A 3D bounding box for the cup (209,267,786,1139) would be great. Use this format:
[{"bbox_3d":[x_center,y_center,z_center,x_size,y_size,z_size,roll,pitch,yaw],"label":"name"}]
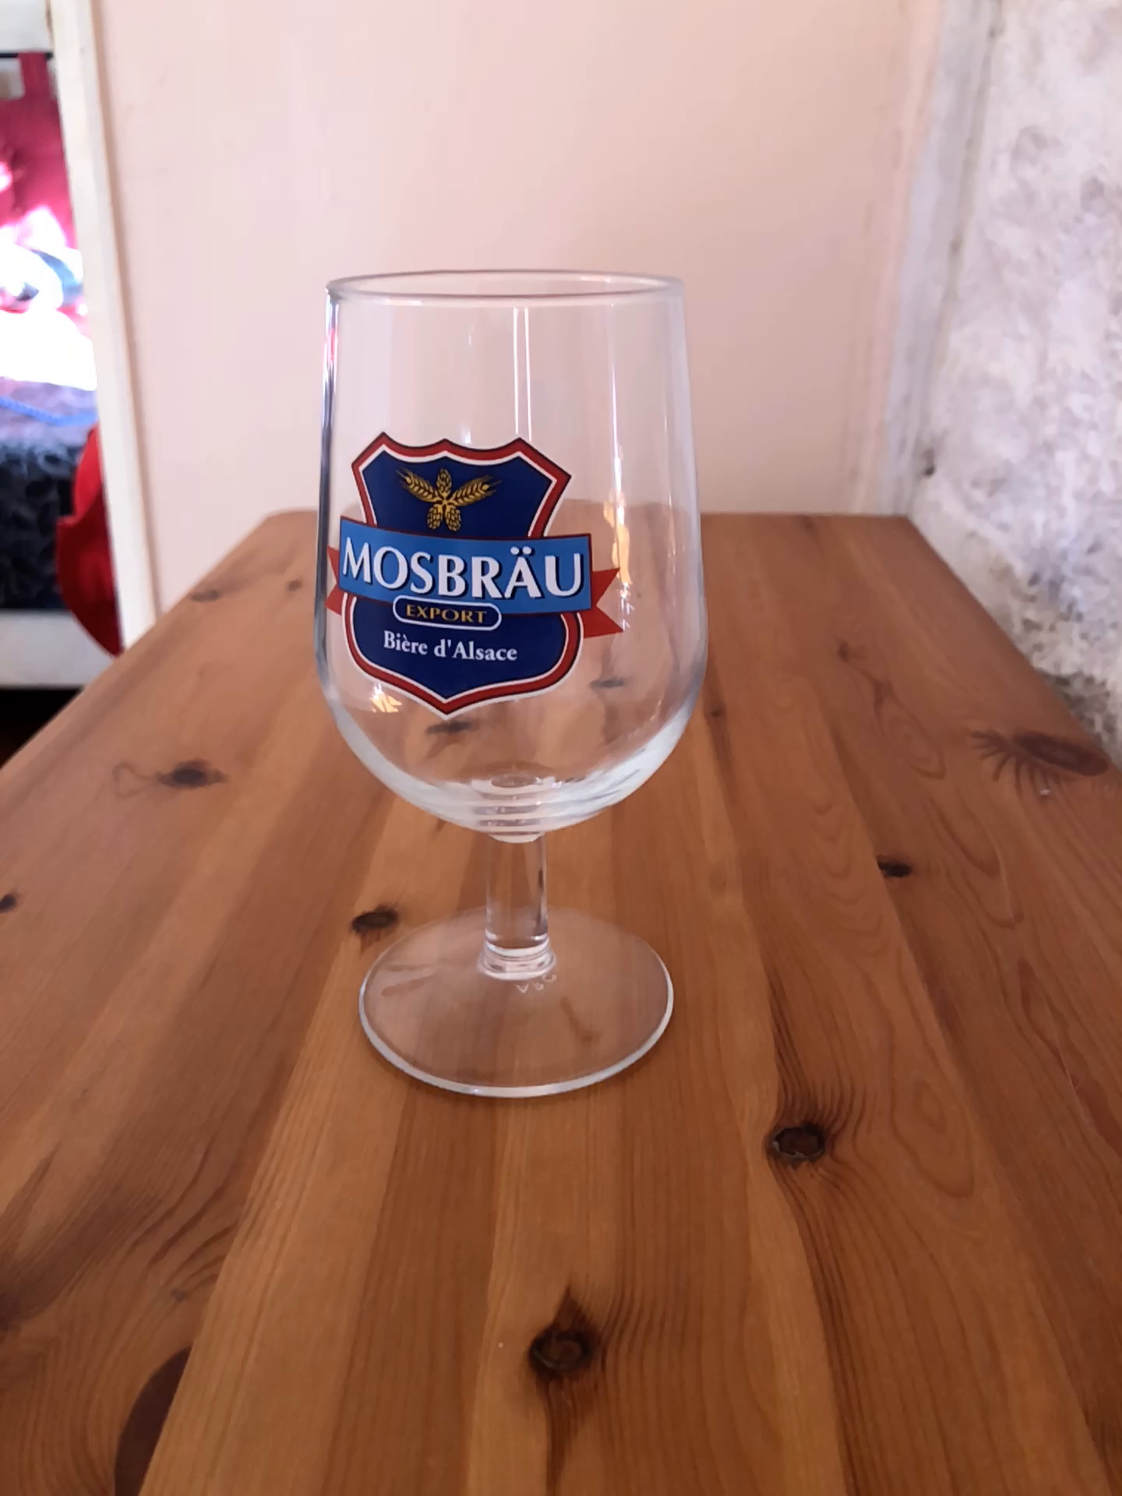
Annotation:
[{"bbox_3d":[-0.007,-0.014,0.242,0.079,0.142,0.077,2,23,-1],"label":"cup"}]
